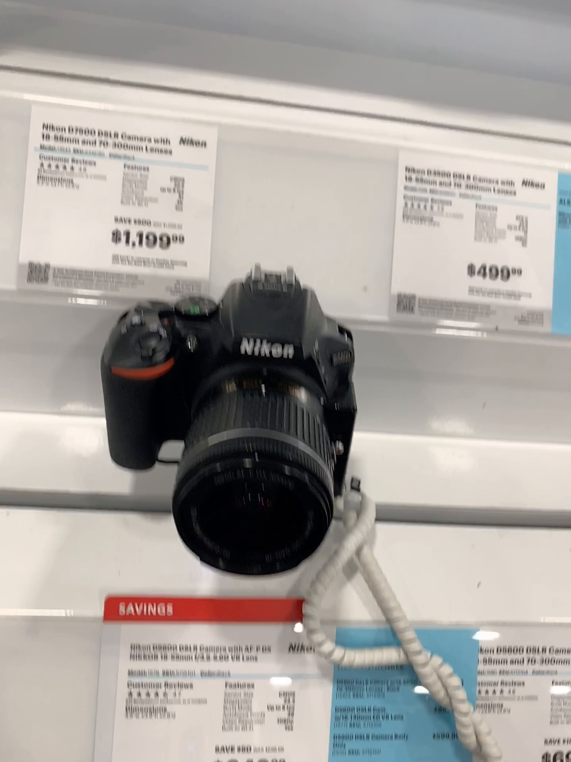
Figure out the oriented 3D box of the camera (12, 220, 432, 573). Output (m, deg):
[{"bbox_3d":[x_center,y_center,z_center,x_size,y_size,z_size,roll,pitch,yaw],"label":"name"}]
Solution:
[{"bbox_3d":[-0.024,0.001,0.258,0.130,0.090,0.120,5,34,-5],"label":"camera"}]
